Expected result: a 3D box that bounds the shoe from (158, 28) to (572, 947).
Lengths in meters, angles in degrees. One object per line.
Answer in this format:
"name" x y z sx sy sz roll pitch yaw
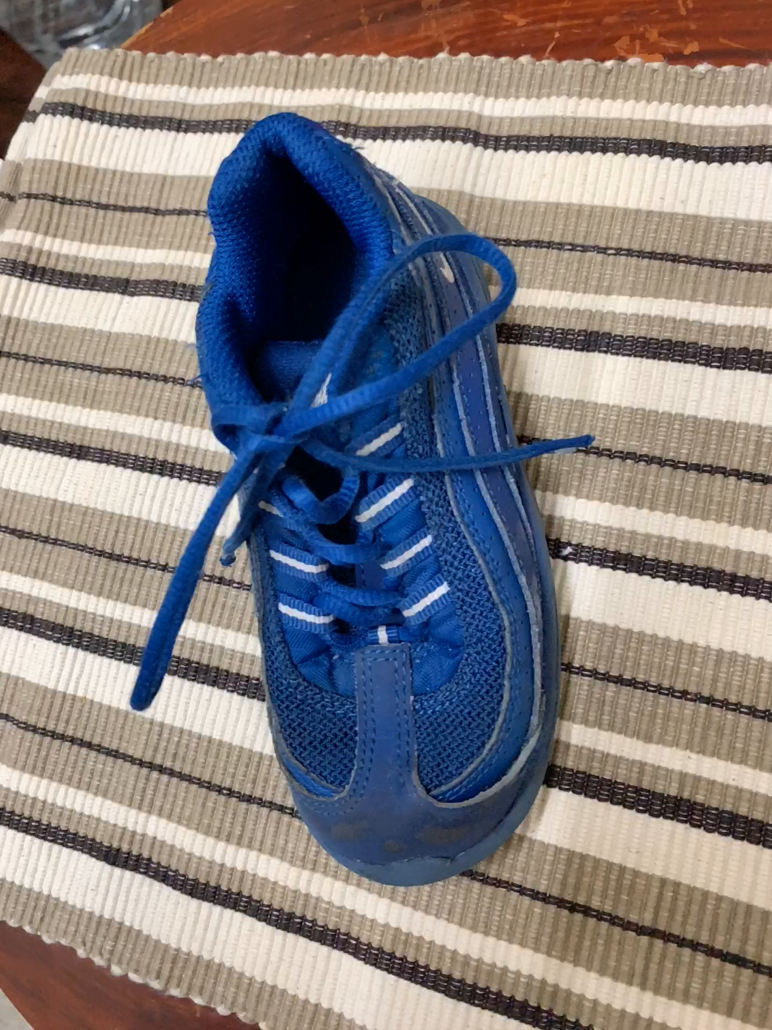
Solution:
"shoe" -0.001 -0.005 0.197 0.073 0.080 0.175 -5 80 16
